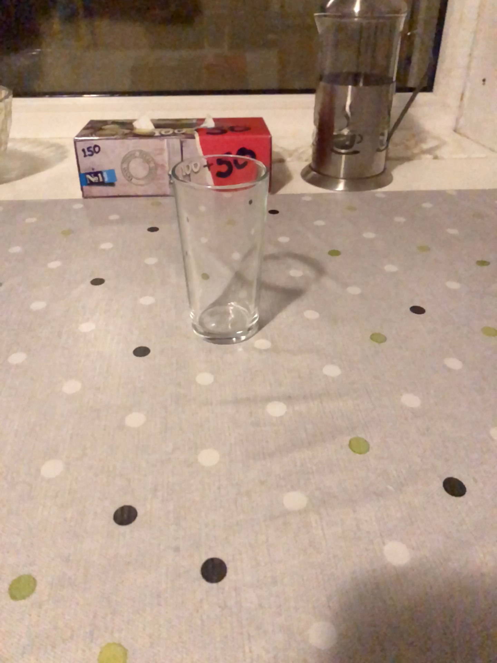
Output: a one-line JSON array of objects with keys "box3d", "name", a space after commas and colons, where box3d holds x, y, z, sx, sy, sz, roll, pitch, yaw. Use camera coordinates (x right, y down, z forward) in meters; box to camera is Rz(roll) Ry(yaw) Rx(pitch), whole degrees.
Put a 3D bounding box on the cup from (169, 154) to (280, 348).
[{"box3d": [-0.016, -0.058, 0.394, 0.068, 0.117, 0.070, 0, 34, 0], "name": "cup"}]
